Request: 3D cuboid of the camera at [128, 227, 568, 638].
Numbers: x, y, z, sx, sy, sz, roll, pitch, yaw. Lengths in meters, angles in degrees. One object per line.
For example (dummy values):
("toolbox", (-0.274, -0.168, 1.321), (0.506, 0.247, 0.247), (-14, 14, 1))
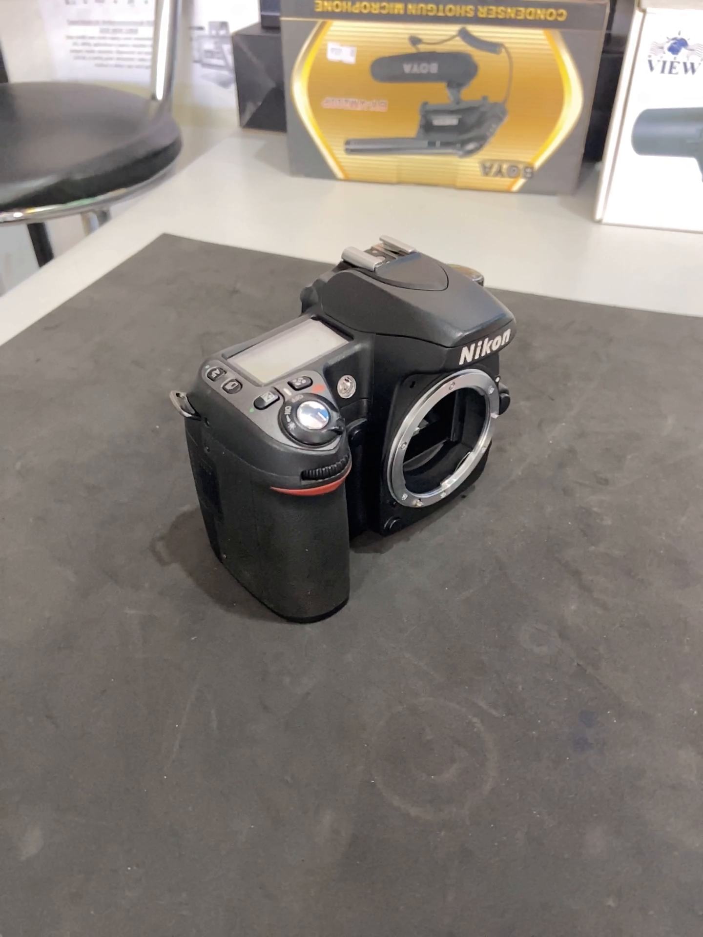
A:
("camera", (0.003, -0.023, 0.287), (0.136, 0.088, 0.084), (-30, 47, -31))
